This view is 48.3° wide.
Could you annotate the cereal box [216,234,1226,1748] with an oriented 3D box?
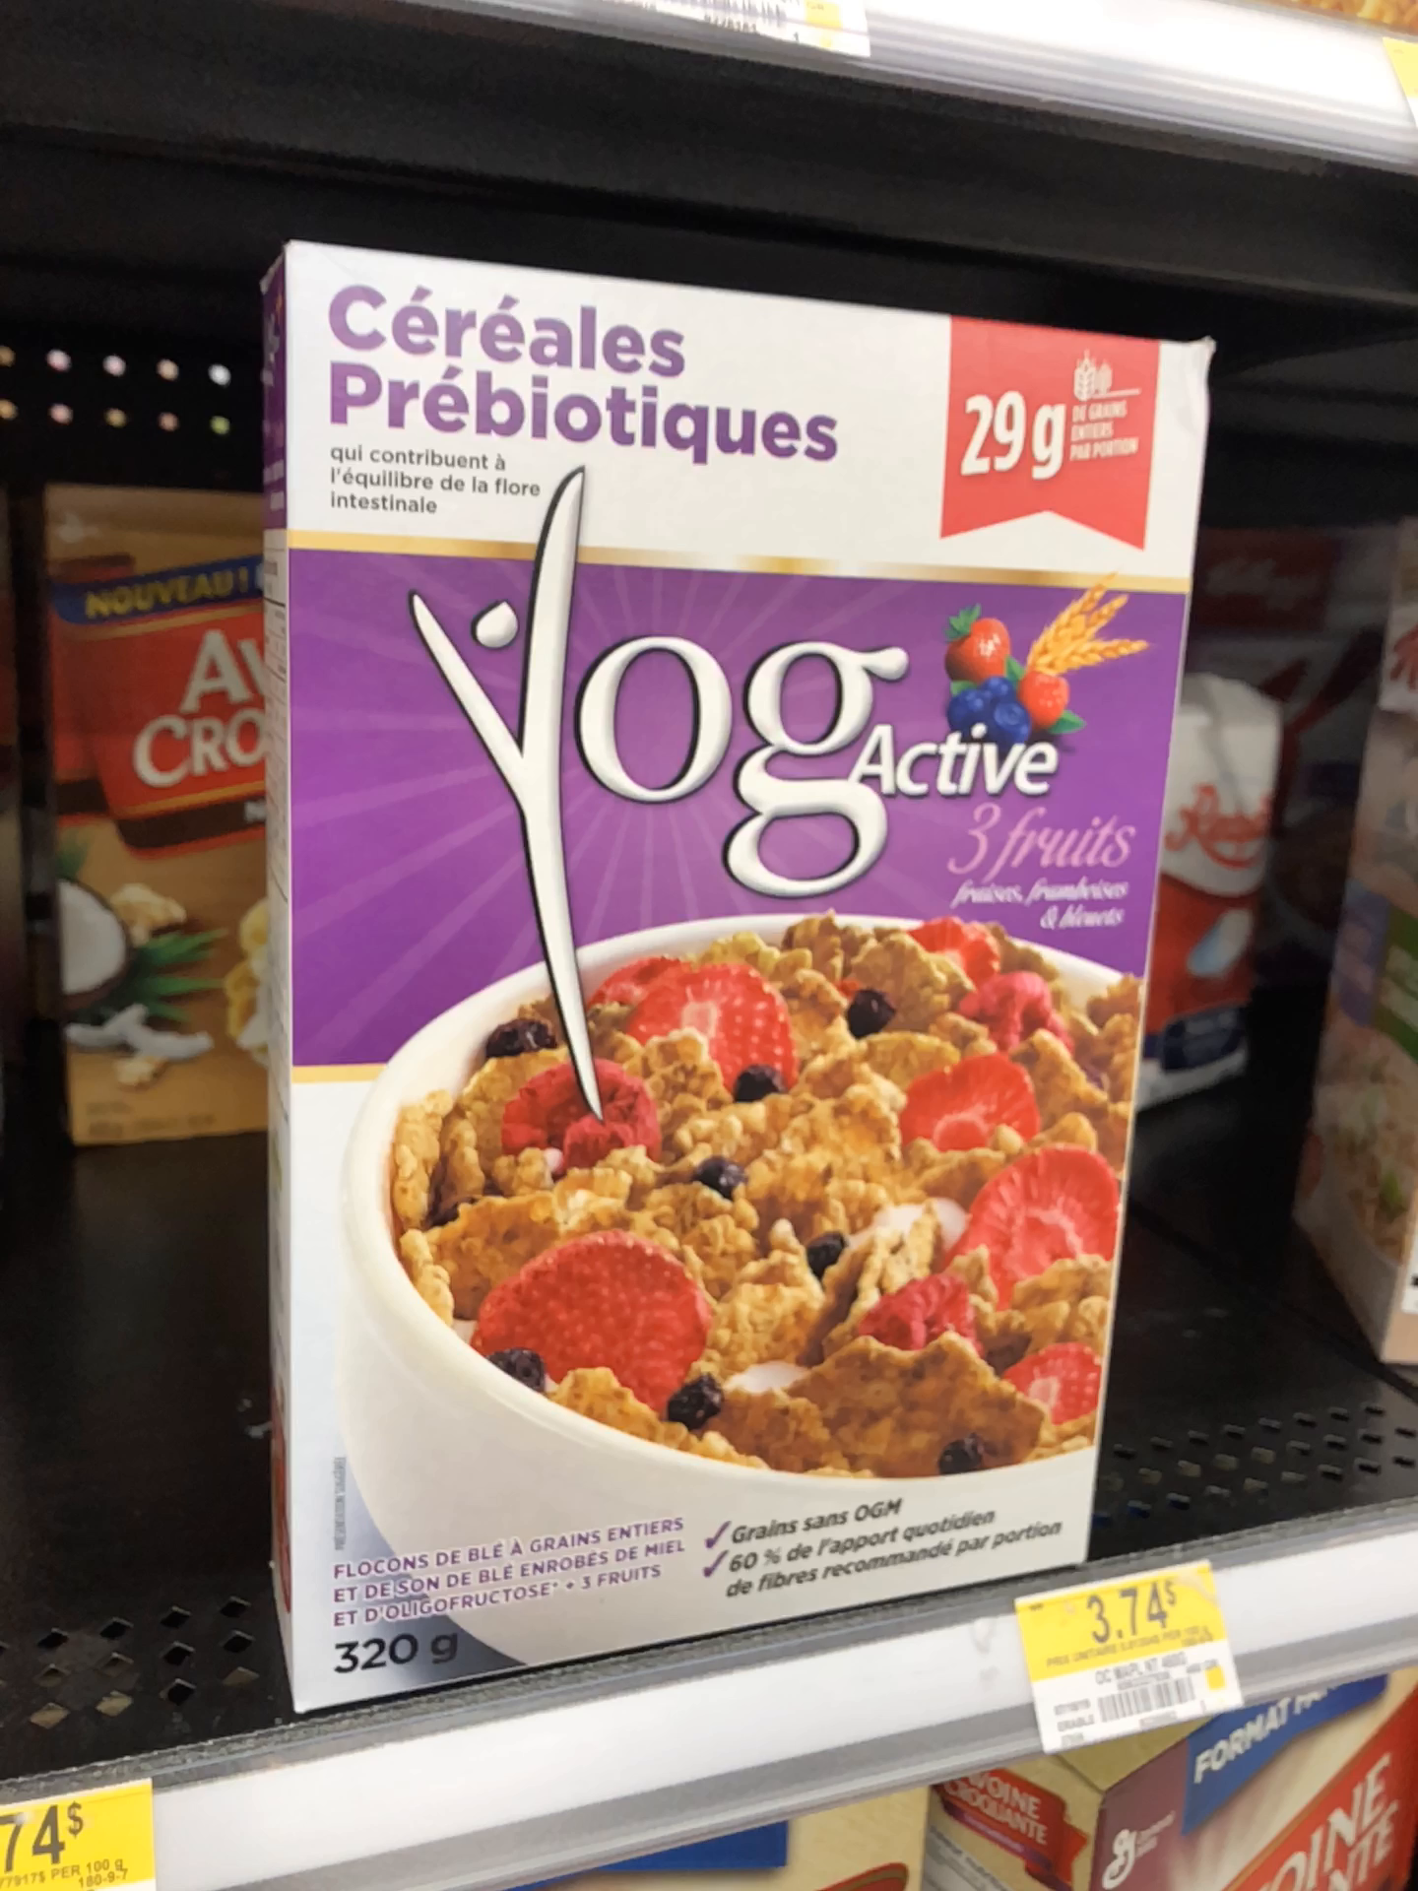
[{"bbox_3d":[-0.004,0.012,0.342,0.190,0.279,0.060,-2,13,-20],"label":"cereal box"}]
